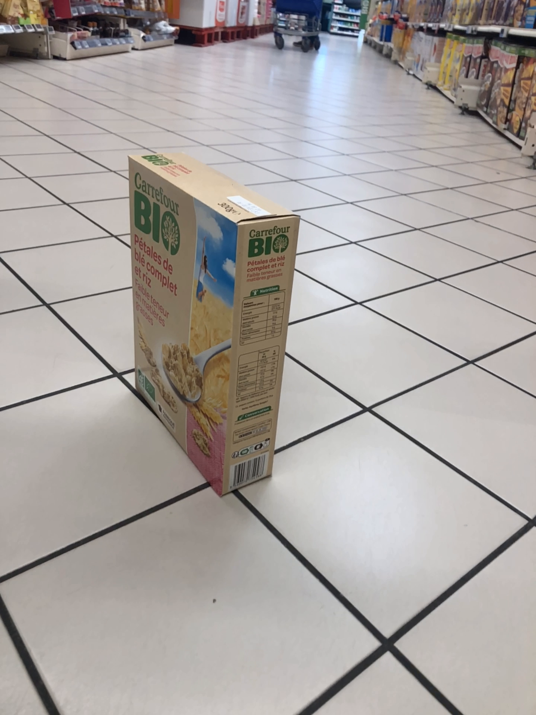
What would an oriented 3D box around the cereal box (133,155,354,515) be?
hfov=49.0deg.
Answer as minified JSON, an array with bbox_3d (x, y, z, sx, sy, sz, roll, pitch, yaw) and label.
[{"bbox_3d":[-0.042,-0.031,0.521,0.080,0.239,0.210,-12,35,-30],"label":"cereal box"}]
